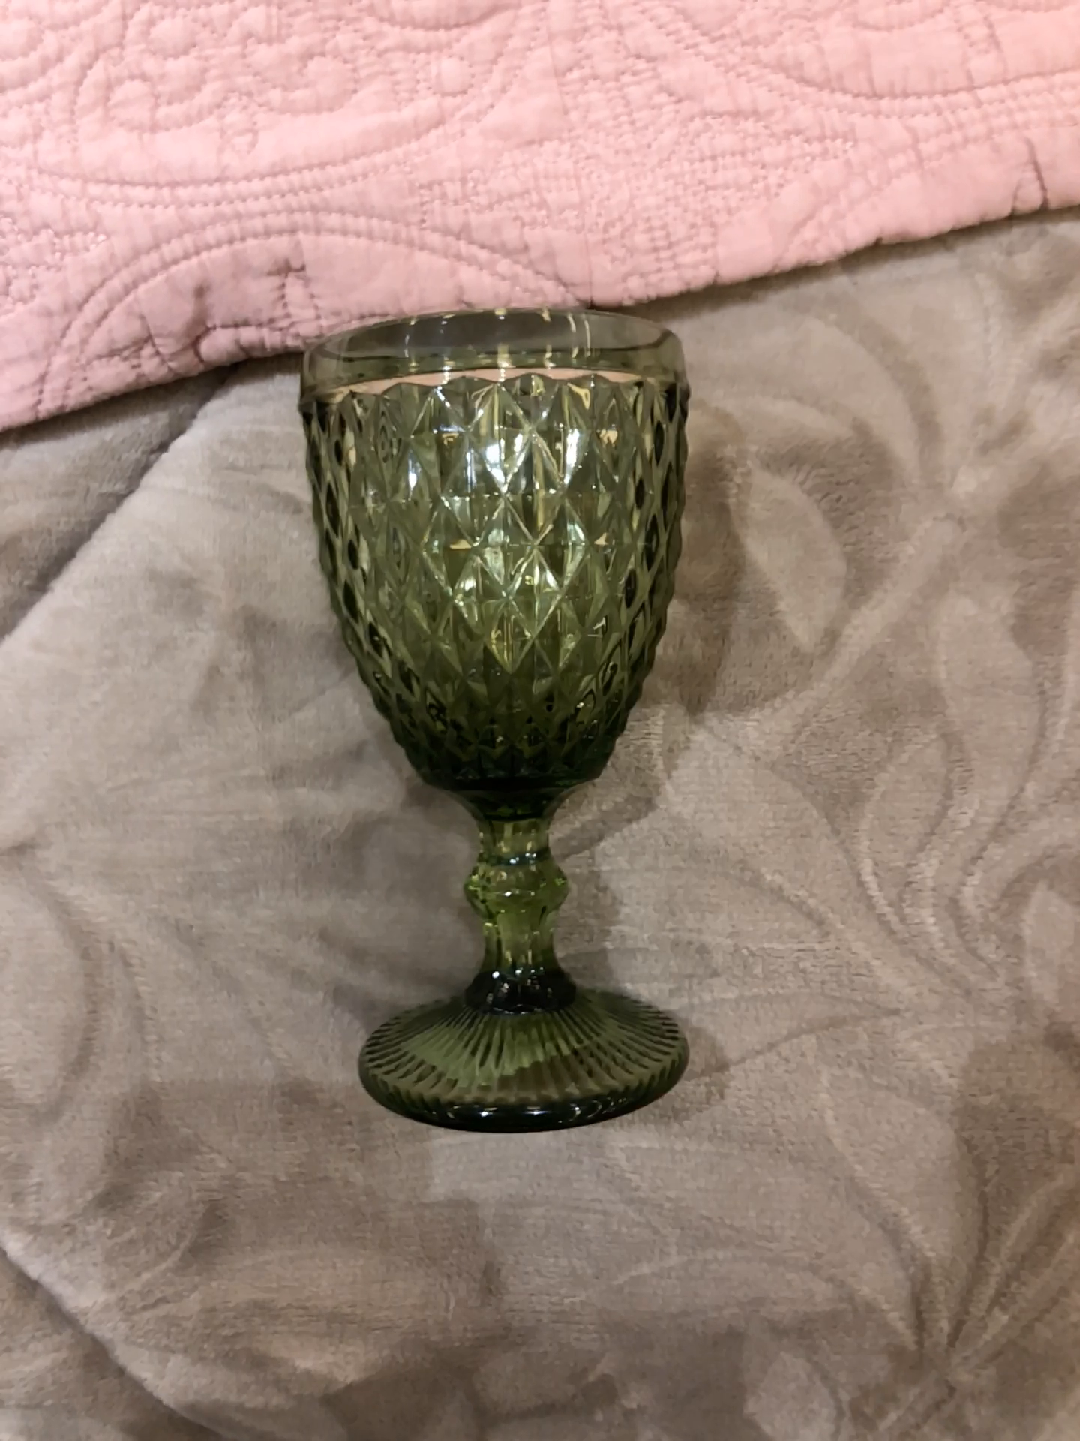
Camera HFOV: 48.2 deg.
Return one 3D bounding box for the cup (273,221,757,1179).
[{"bbox_3d":[-0.004,-0.004,0.284,0.090,0.080,0.190,-2,91,1],"label":"cup"}]
